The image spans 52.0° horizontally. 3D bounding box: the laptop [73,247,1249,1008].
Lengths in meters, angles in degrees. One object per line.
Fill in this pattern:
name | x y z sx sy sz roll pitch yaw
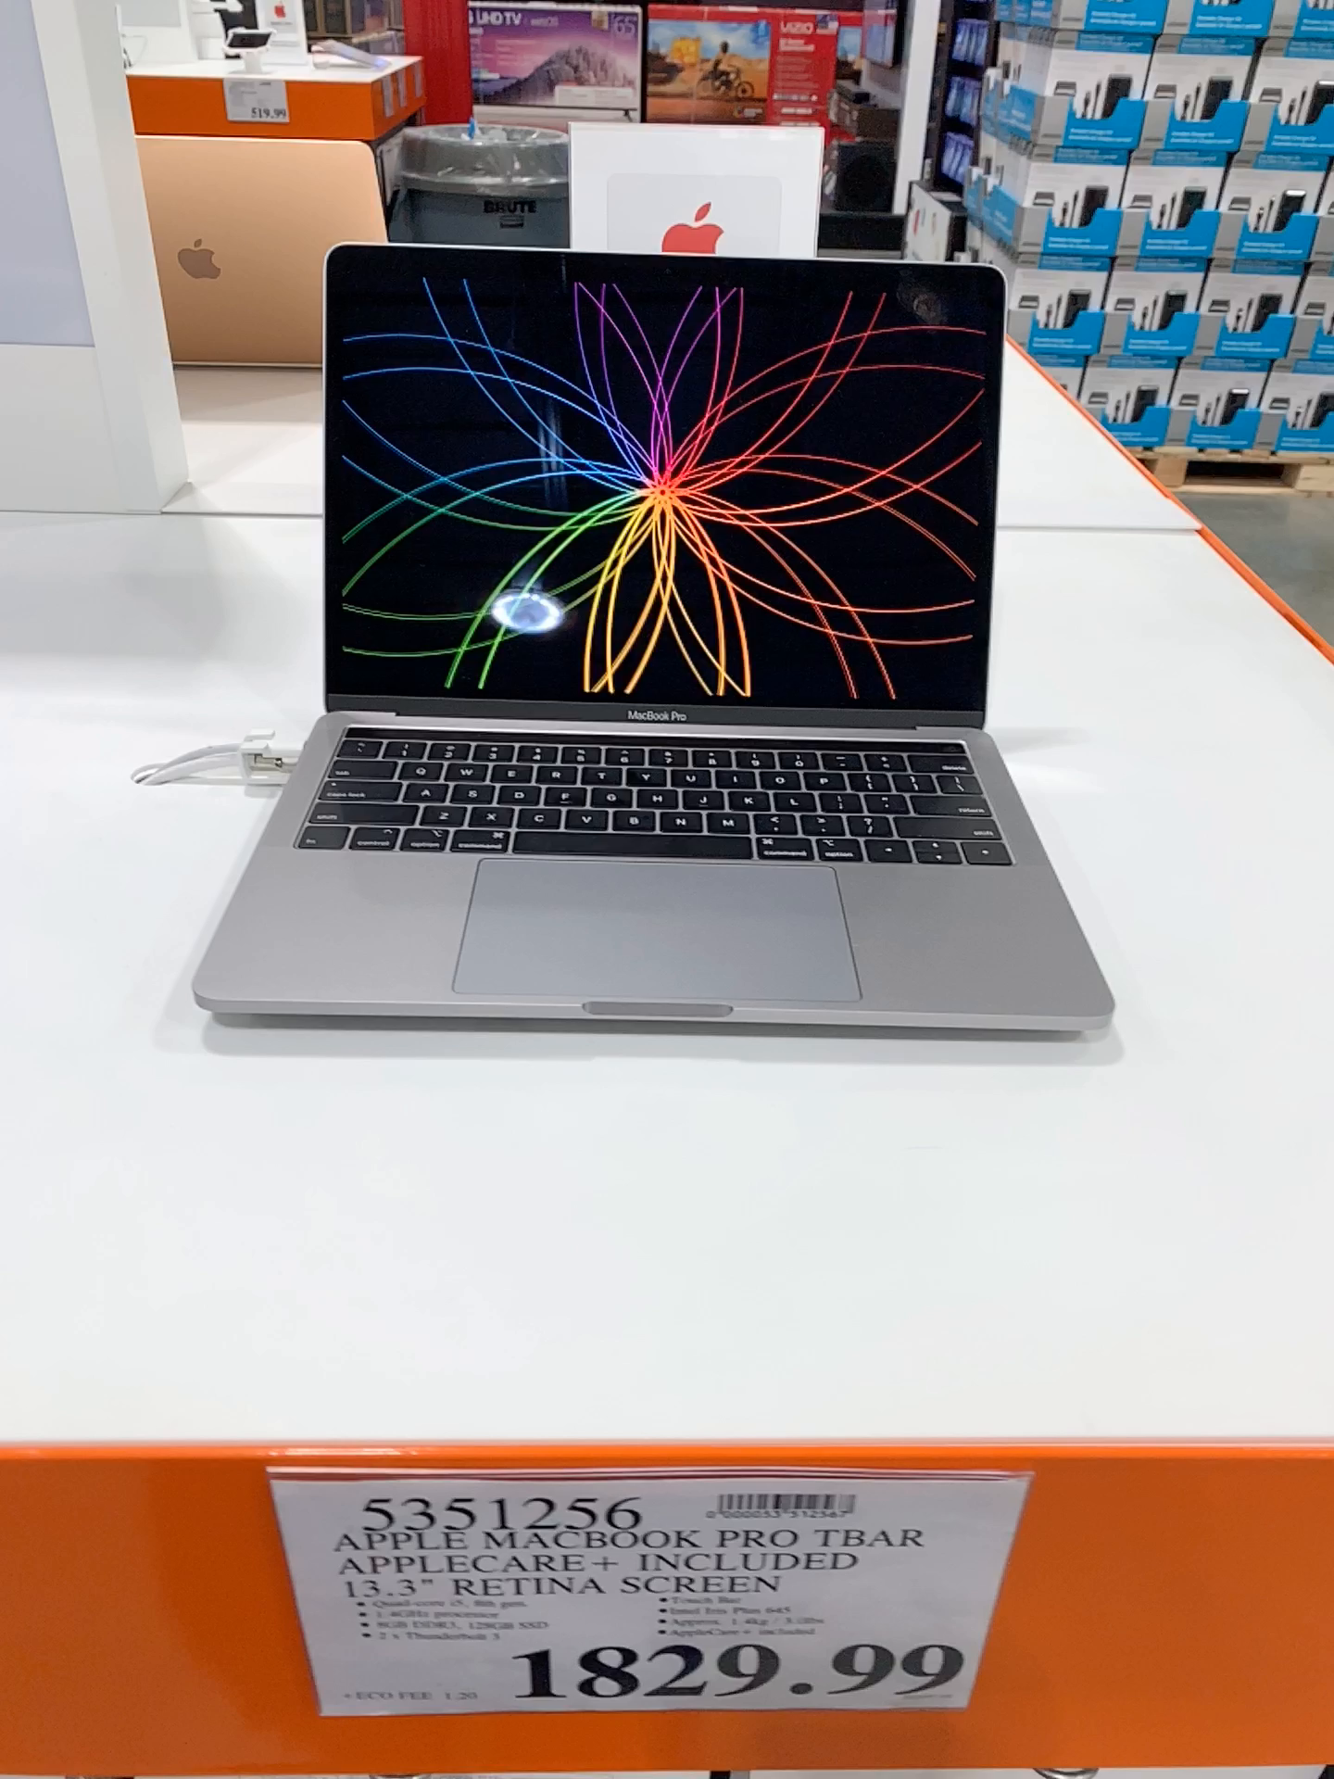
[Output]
laptop | -0.002 -0.120 0.509 0.289 0.165 0.308 1 34 -1
